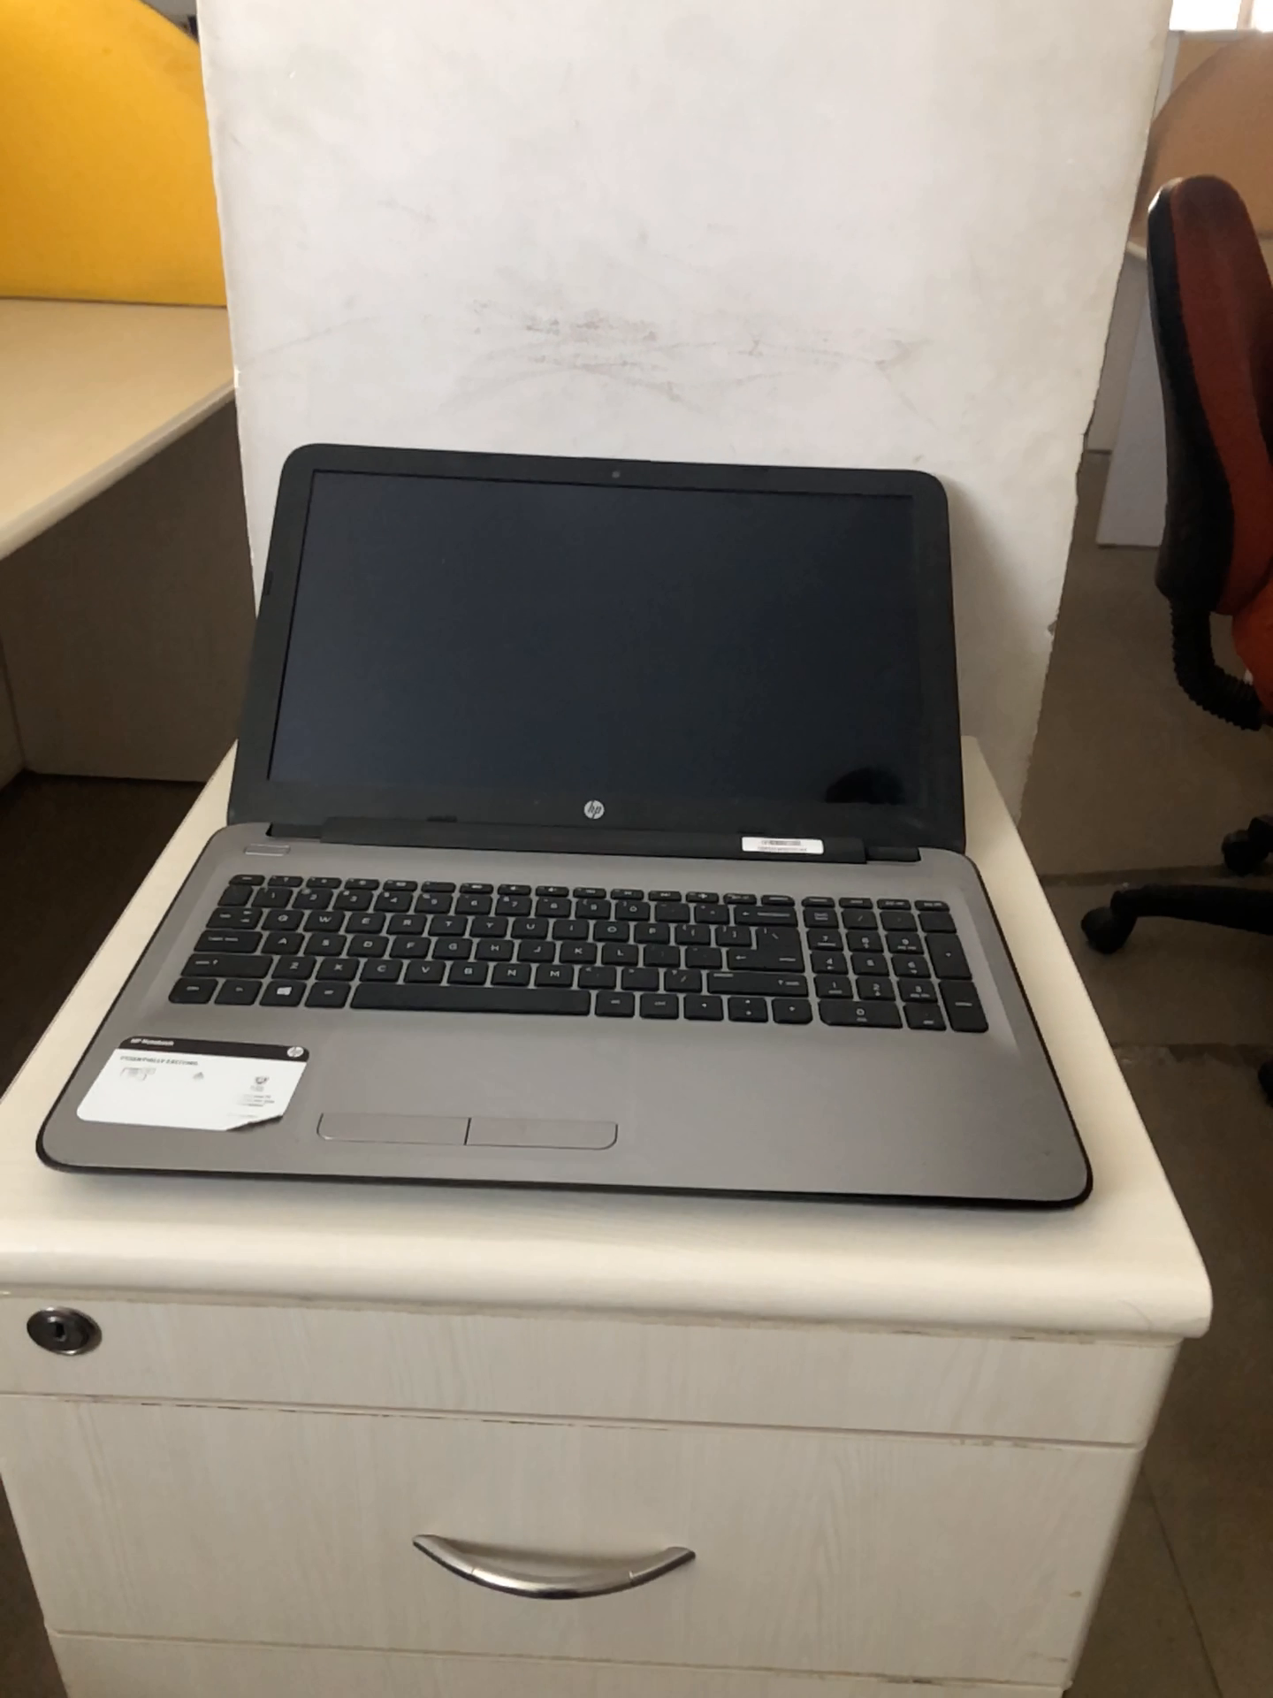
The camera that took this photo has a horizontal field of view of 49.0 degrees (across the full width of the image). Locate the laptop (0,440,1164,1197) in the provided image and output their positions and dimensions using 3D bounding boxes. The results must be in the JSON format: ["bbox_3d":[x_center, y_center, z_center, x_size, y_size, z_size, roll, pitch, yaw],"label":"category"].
[{"bbox_3d":[-0.018,-0.055,0.639,0.361,0.136,0.428,2,31,0],"label":"laptop"}]
